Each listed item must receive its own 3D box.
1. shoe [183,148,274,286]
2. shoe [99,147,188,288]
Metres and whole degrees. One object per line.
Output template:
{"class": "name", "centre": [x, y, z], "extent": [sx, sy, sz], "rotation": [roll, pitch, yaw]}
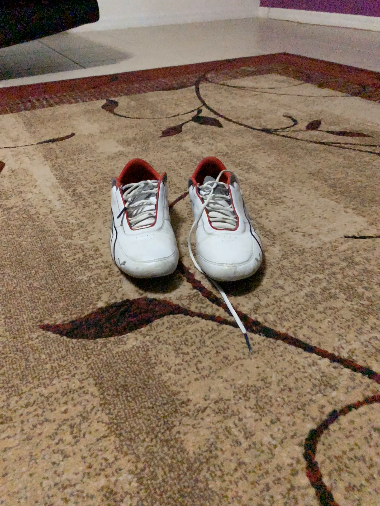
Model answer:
{"class": "shoe", "centre": [0.043, -0.071, 0.585], "extent": [0.103, 0.070, 0.283], "rotation": [-2, 36, 0]}
{"class": "shoe", "centre": [-0.080, -0.071, 0.590], "extent": [0.099, 0.070, 0.283], "rotation": [-8, 36, -9]}
